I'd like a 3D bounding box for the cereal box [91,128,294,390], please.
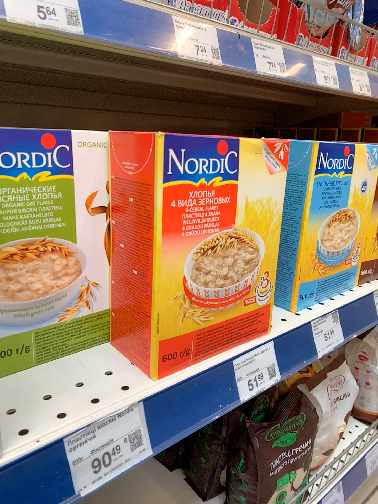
[{"bbox_3d":[0.003,-0.007,0.346,0.150,0.189,0.080,-10,20,-37],"label":"cereal box"}]
